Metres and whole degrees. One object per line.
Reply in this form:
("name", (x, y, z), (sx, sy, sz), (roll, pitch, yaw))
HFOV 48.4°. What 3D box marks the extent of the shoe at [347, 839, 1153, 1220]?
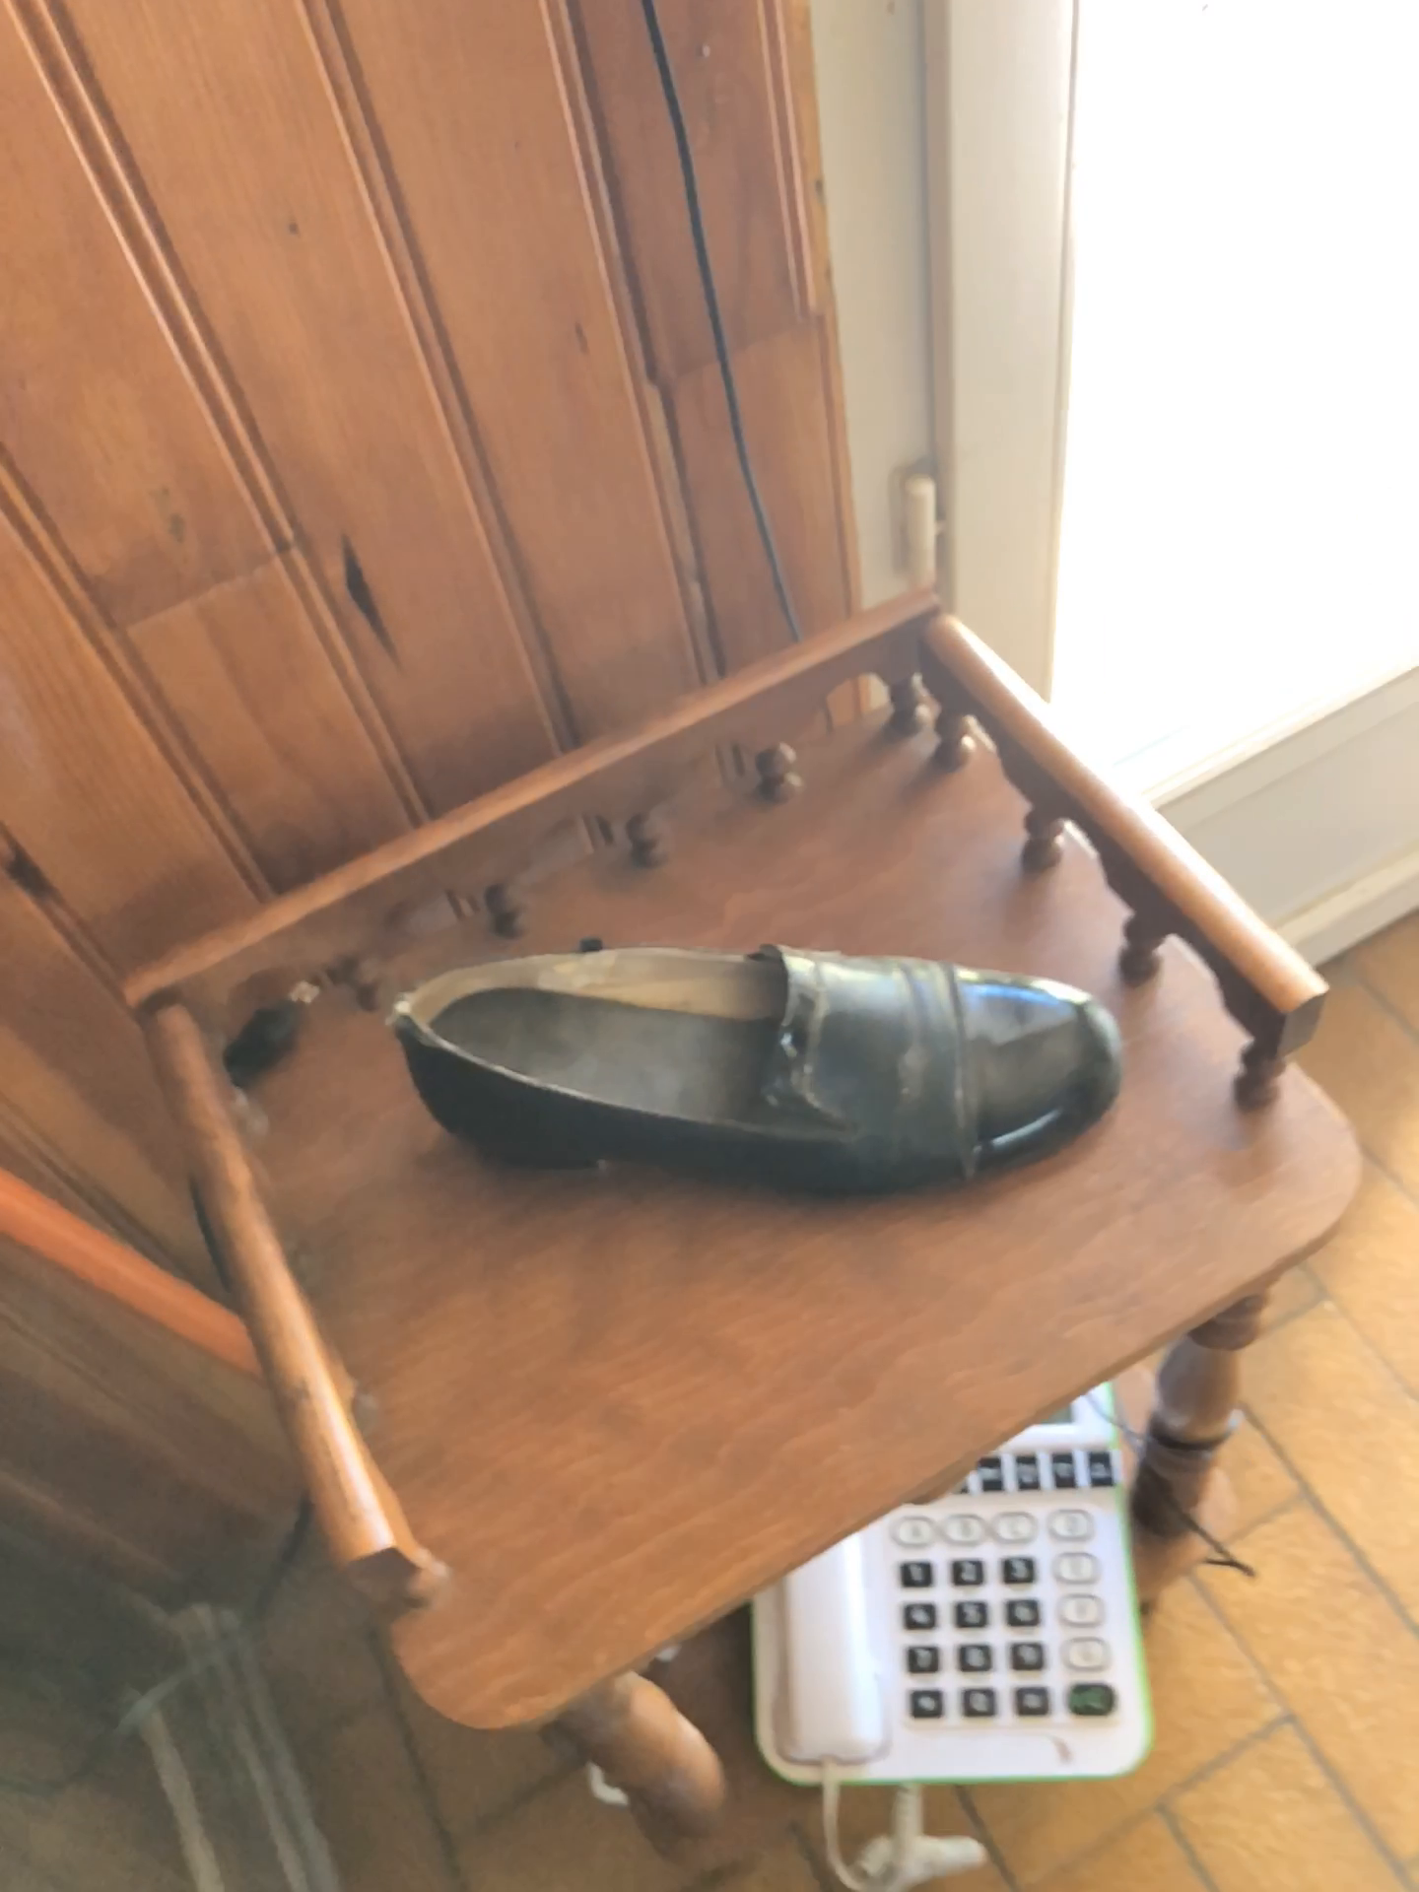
("shoe", (0.018, 0.032, 0.570), (0.260, 0.090, 0.100), (-1, 55, 9))
